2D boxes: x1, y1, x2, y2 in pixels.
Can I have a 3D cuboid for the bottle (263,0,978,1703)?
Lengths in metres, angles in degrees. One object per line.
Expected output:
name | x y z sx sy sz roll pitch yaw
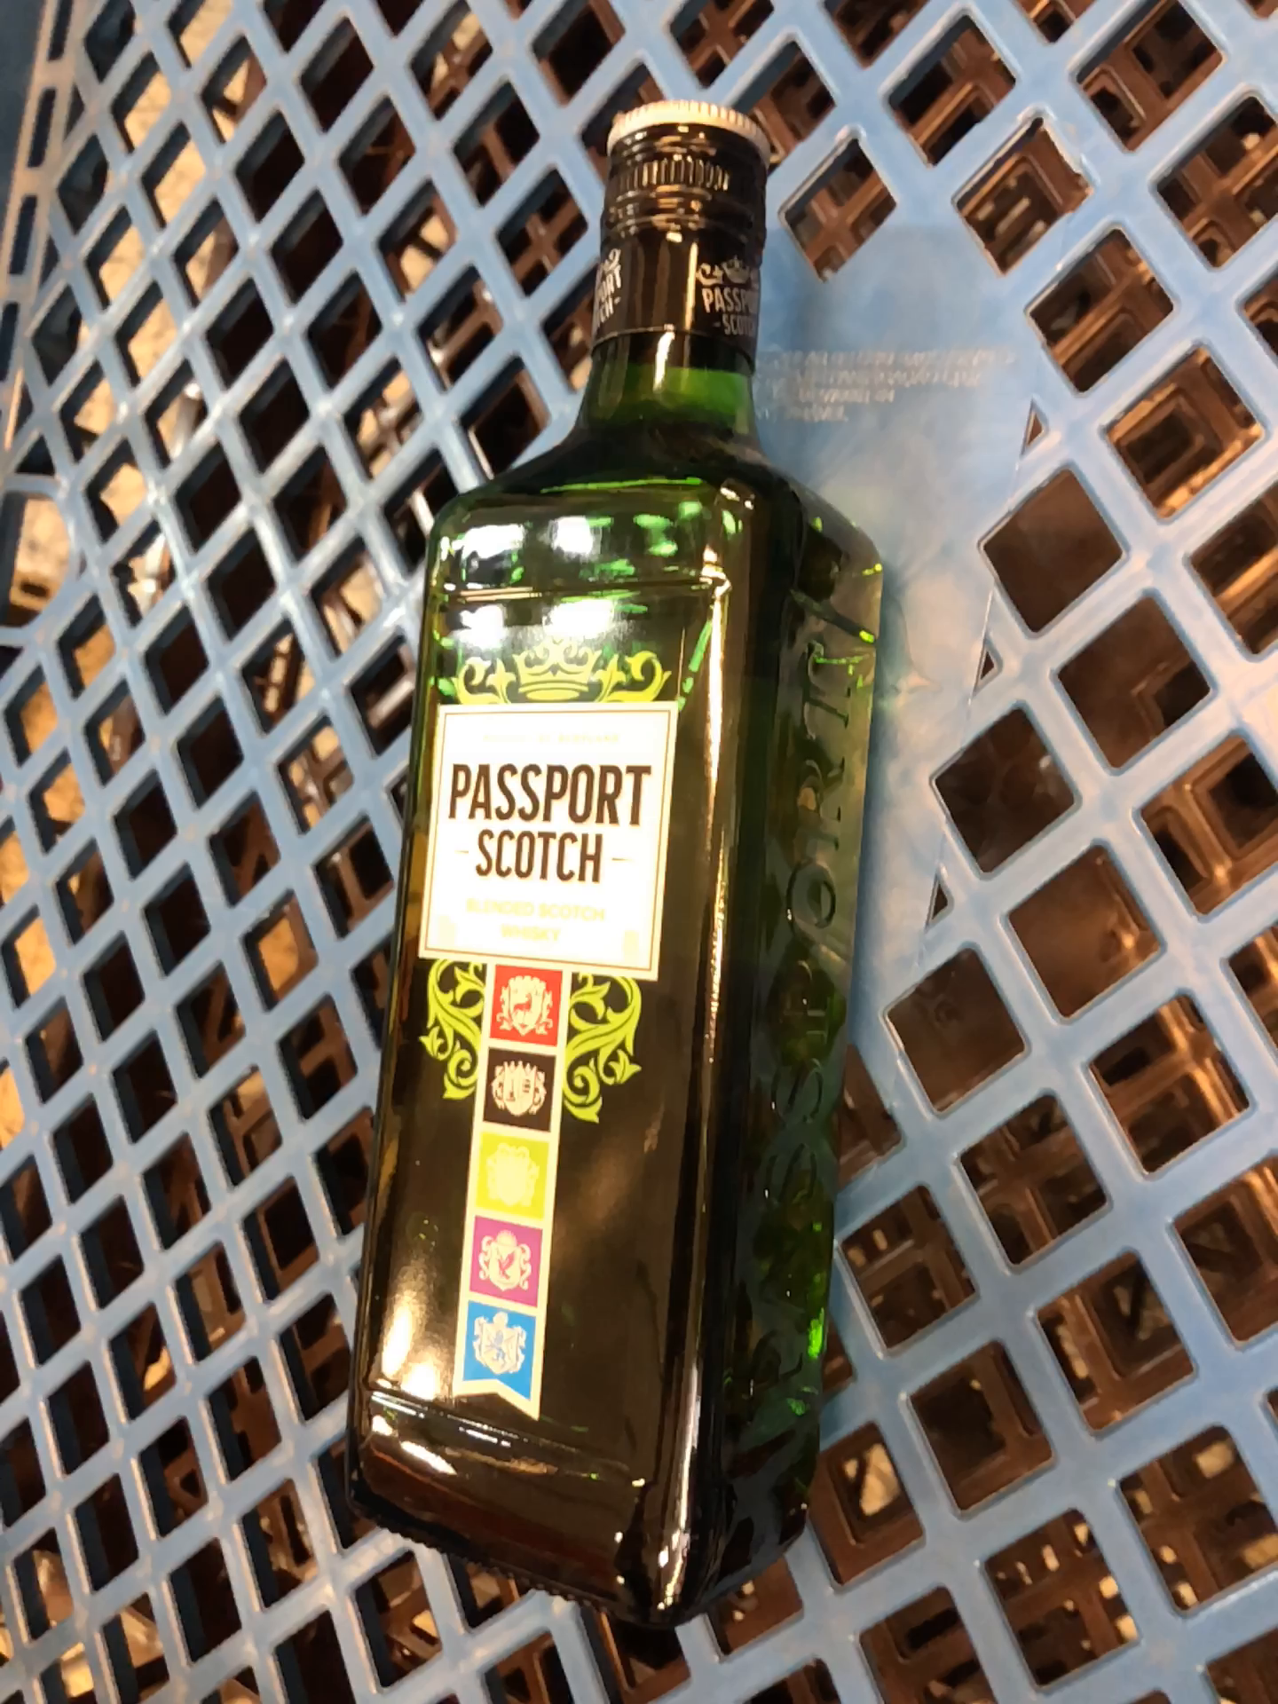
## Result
bottle | 0.000 -0.018 0.256 0.080 0.070 0.280 3 86 33
